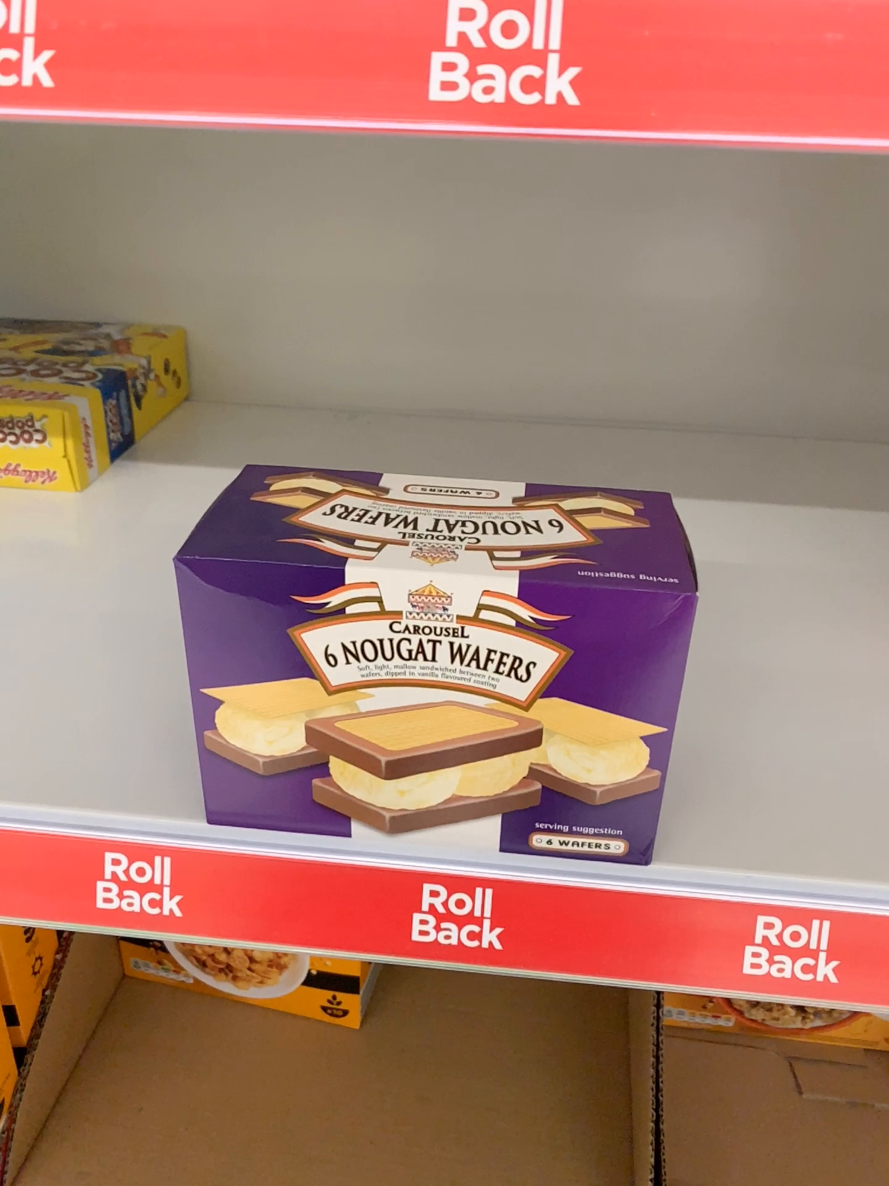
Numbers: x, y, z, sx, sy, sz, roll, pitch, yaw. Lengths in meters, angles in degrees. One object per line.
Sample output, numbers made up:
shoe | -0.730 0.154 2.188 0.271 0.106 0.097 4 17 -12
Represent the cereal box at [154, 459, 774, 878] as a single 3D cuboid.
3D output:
cereal box | 0.006 0.024 0.345 0.190 0.109 0.091 5 29 4
